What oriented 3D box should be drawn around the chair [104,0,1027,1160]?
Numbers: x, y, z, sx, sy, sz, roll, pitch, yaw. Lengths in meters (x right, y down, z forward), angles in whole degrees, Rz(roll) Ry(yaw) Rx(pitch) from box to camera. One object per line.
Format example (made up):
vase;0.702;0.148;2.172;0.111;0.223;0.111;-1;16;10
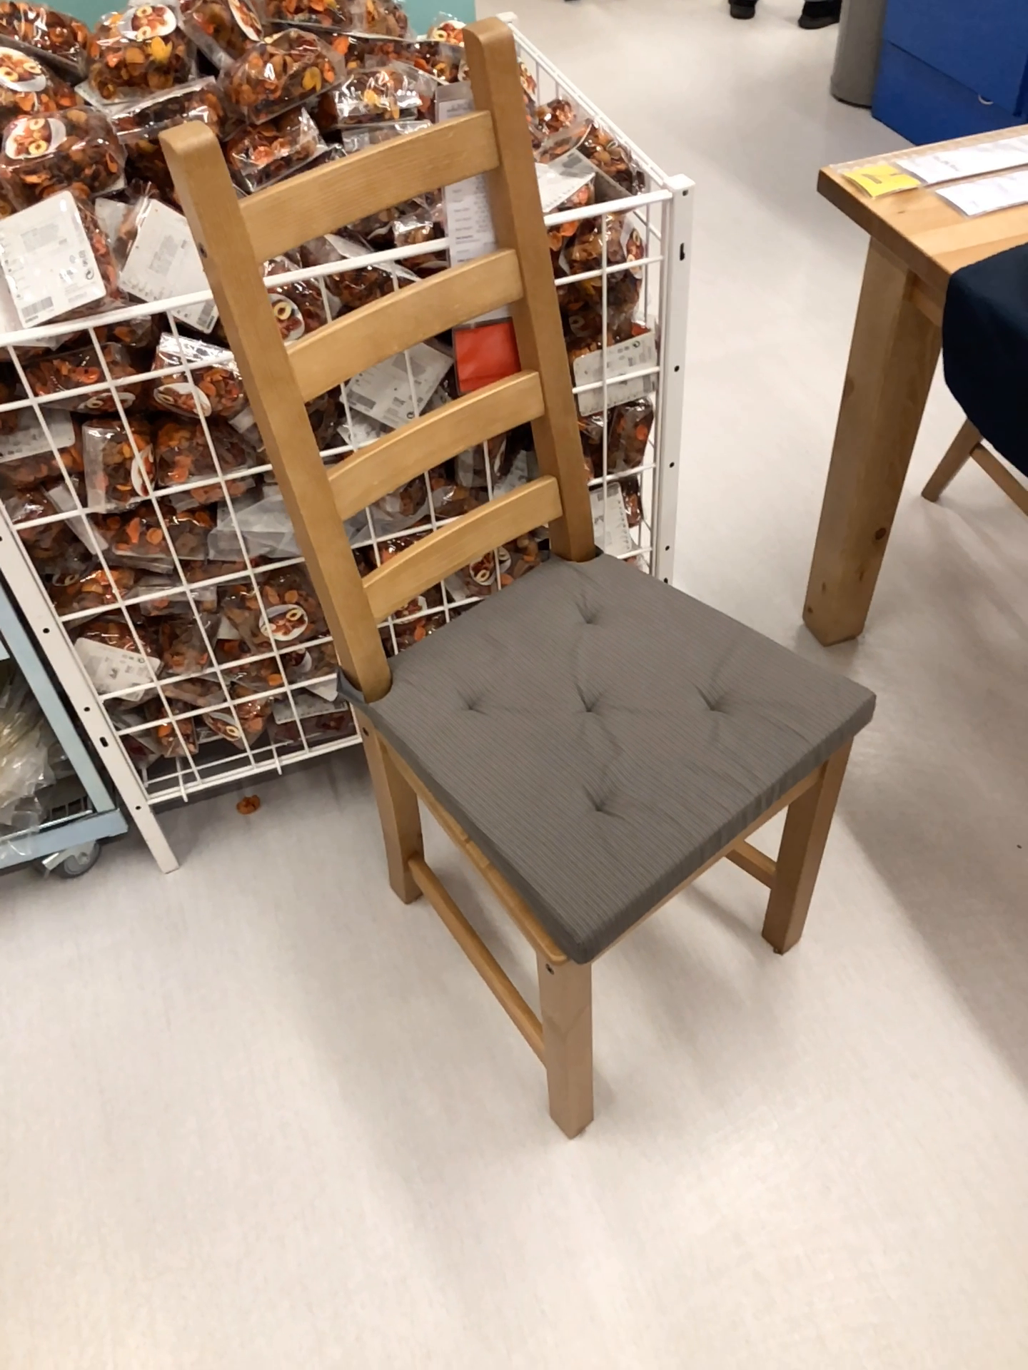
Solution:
chair;0.067;-0.051;1.049;0.431;0.914;0.472;-34;54;-24
